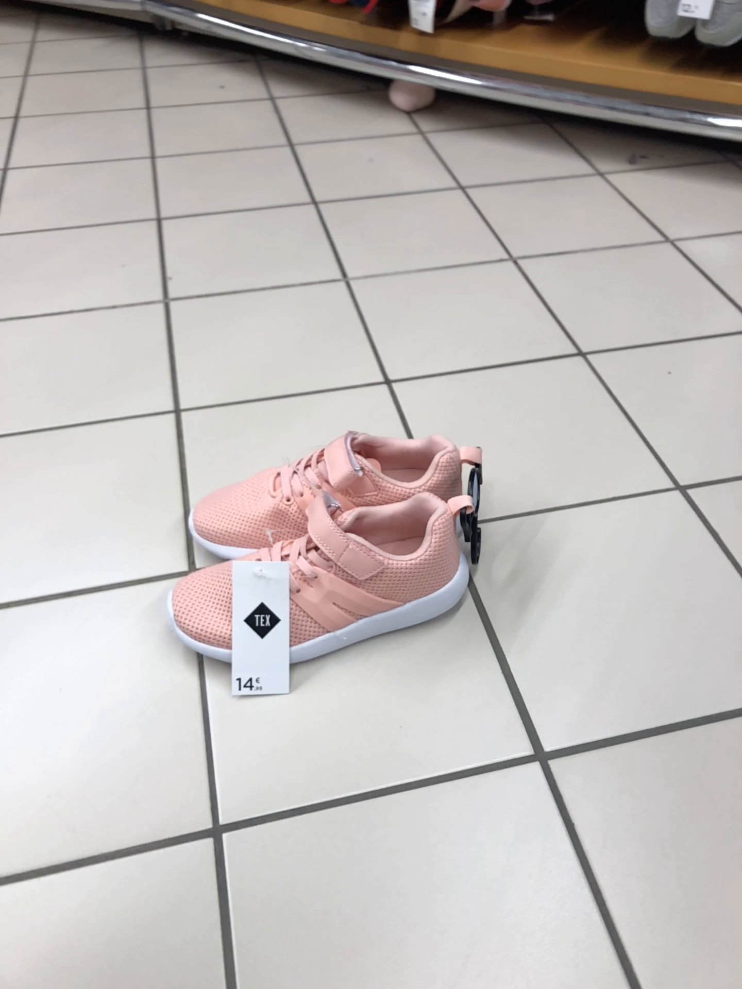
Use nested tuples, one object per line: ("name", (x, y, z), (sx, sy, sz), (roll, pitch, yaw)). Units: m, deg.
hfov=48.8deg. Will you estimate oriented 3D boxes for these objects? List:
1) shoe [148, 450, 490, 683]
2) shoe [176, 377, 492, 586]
("shoe", (-0.035, 0.046, 0.544), (0.203, 0.093, 0.083), (-8, 44, -9))
("shoe", (-0.028, -0.012, 0.604), (0.210, 0.091, 0.080), (-10, 44, -10))
